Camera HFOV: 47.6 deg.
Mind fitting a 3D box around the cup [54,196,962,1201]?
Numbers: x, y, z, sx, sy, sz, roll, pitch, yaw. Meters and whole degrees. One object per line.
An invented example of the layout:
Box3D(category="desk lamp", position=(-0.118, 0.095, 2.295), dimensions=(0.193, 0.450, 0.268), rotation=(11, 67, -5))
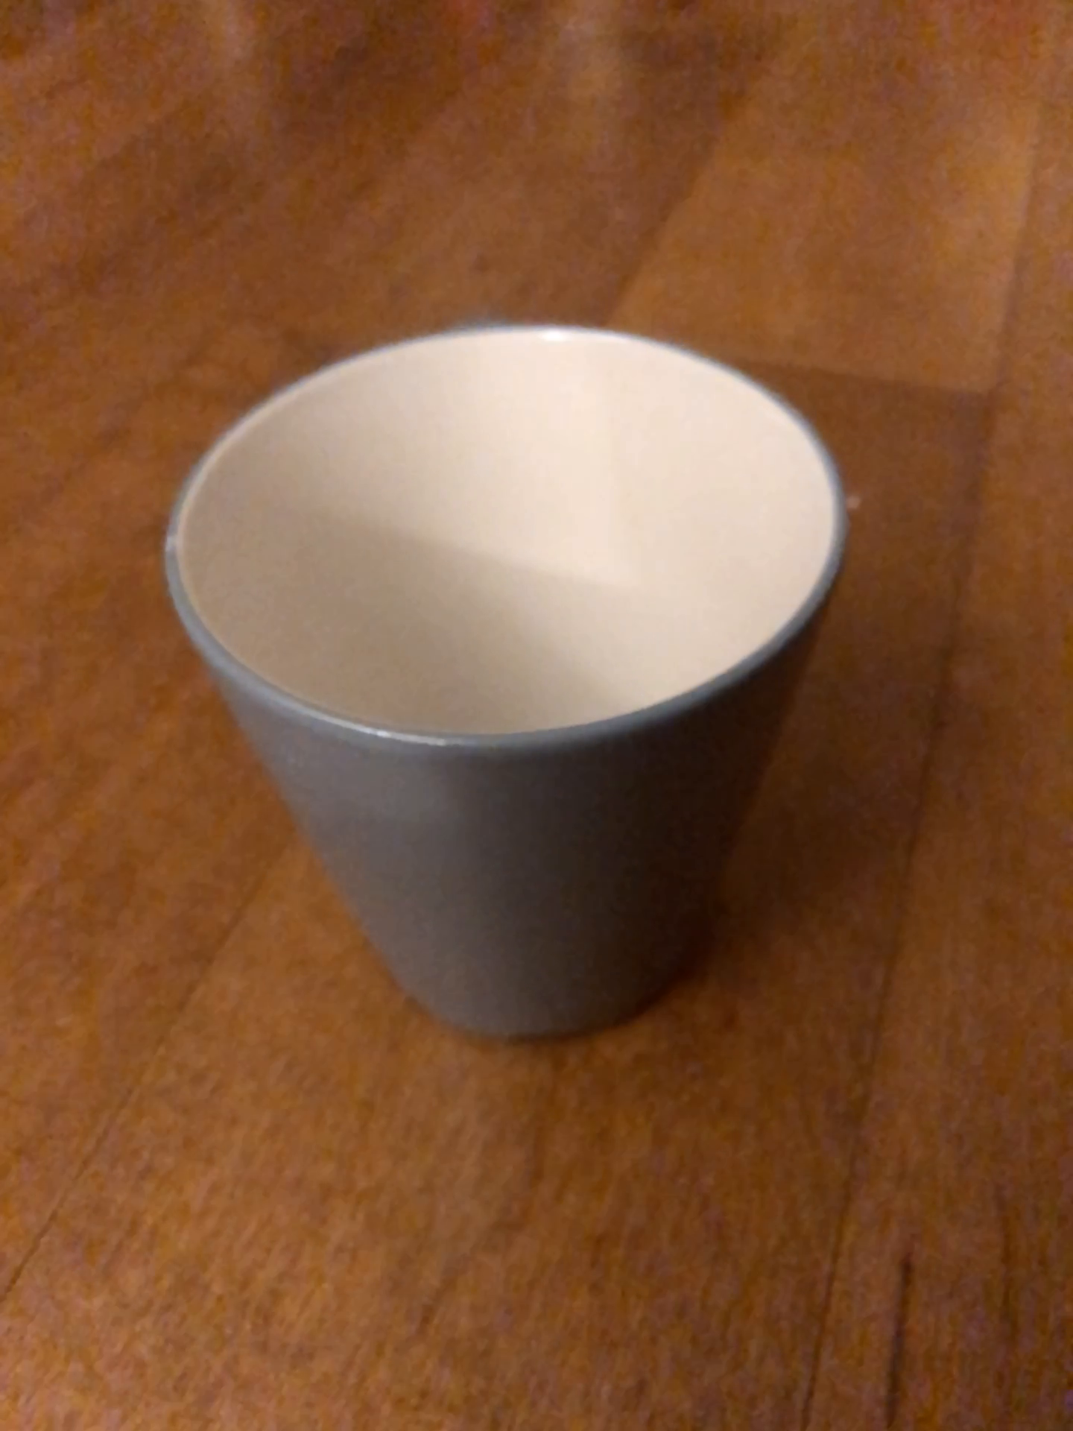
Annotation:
Box3D(category="cup", position=(-0.007, -0.009, 0.218), dimensions=(0.100, 0.099, 0.141), rotation=(-6, 46, -1))
